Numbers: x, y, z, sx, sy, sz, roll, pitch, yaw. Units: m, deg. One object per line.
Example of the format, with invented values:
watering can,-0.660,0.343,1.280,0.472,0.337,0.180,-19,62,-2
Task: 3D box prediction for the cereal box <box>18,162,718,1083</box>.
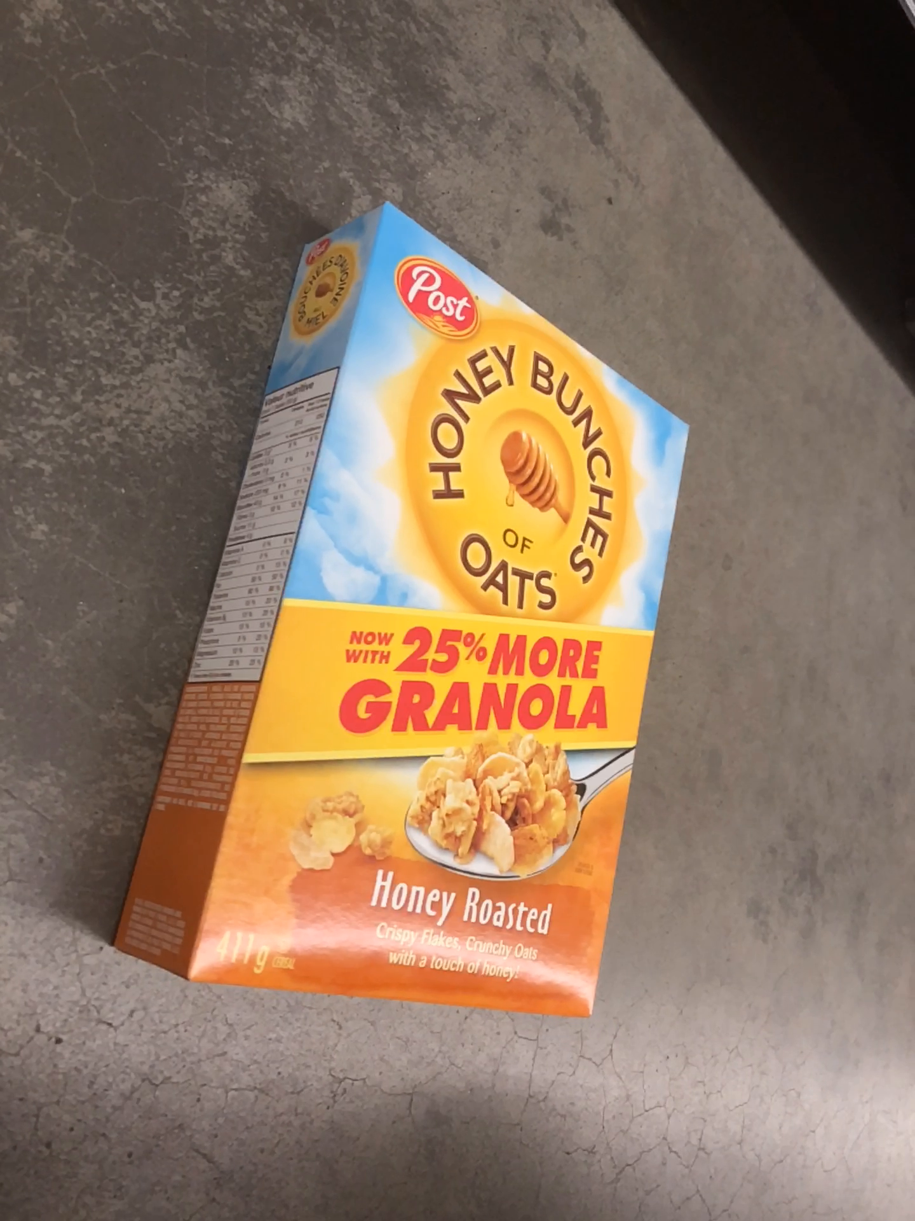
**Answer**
cereal box,-0.006,0.019,0.389,0.211,0.060,0.280,29,70,-41
